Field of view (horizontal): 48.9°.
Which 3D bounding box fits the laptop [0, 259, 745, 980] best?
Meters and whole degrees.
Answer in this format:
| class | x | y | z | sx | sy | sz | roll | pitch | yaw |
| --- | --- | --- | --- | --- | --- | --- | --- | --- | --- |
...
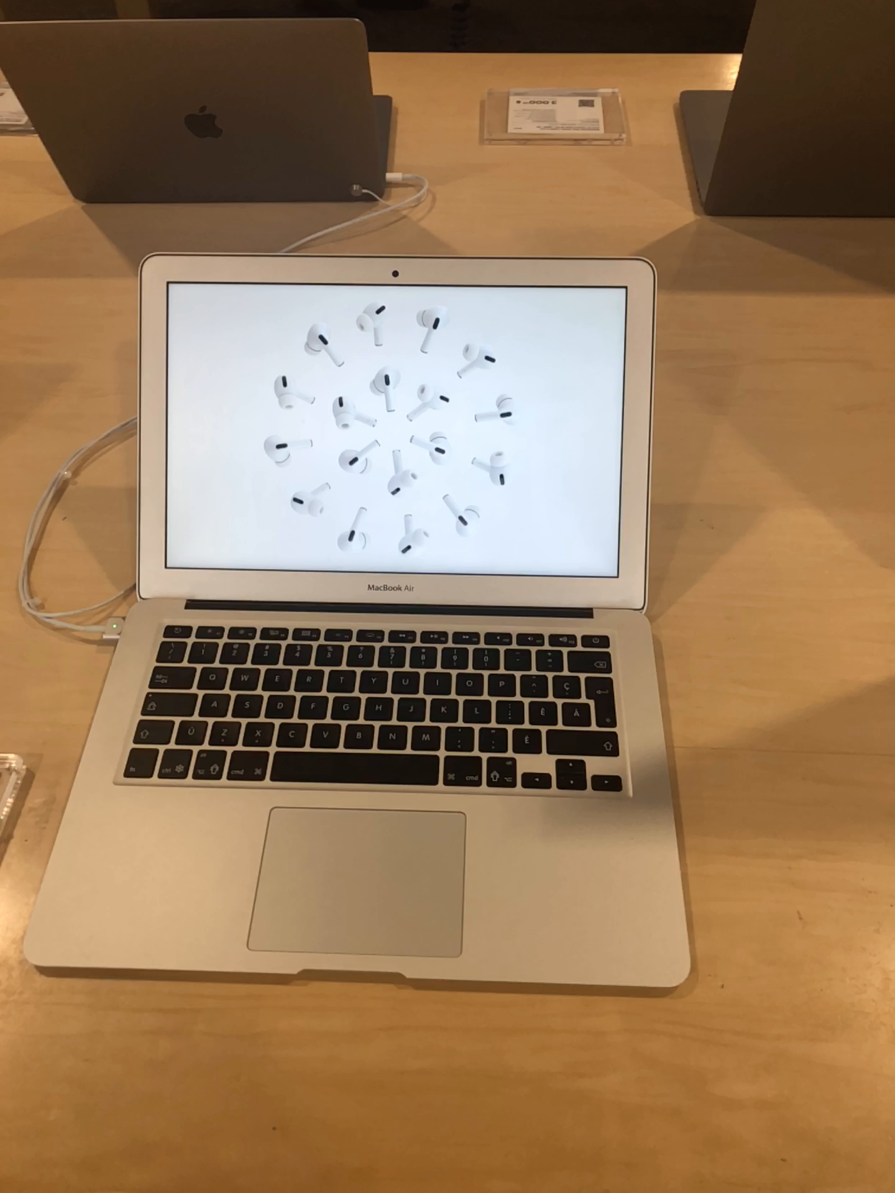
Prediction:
| class | x | y | z | sx | sy | sz | roll | pitch | yaw |
| --- | --- | --- | --- | --- | --- | --- | --- | --- | --- |
| laptop | -0.038 | -0.014 | 0.526 | 0.302 | 0.137 | 0.372 | 1 | 50 | 2 |
